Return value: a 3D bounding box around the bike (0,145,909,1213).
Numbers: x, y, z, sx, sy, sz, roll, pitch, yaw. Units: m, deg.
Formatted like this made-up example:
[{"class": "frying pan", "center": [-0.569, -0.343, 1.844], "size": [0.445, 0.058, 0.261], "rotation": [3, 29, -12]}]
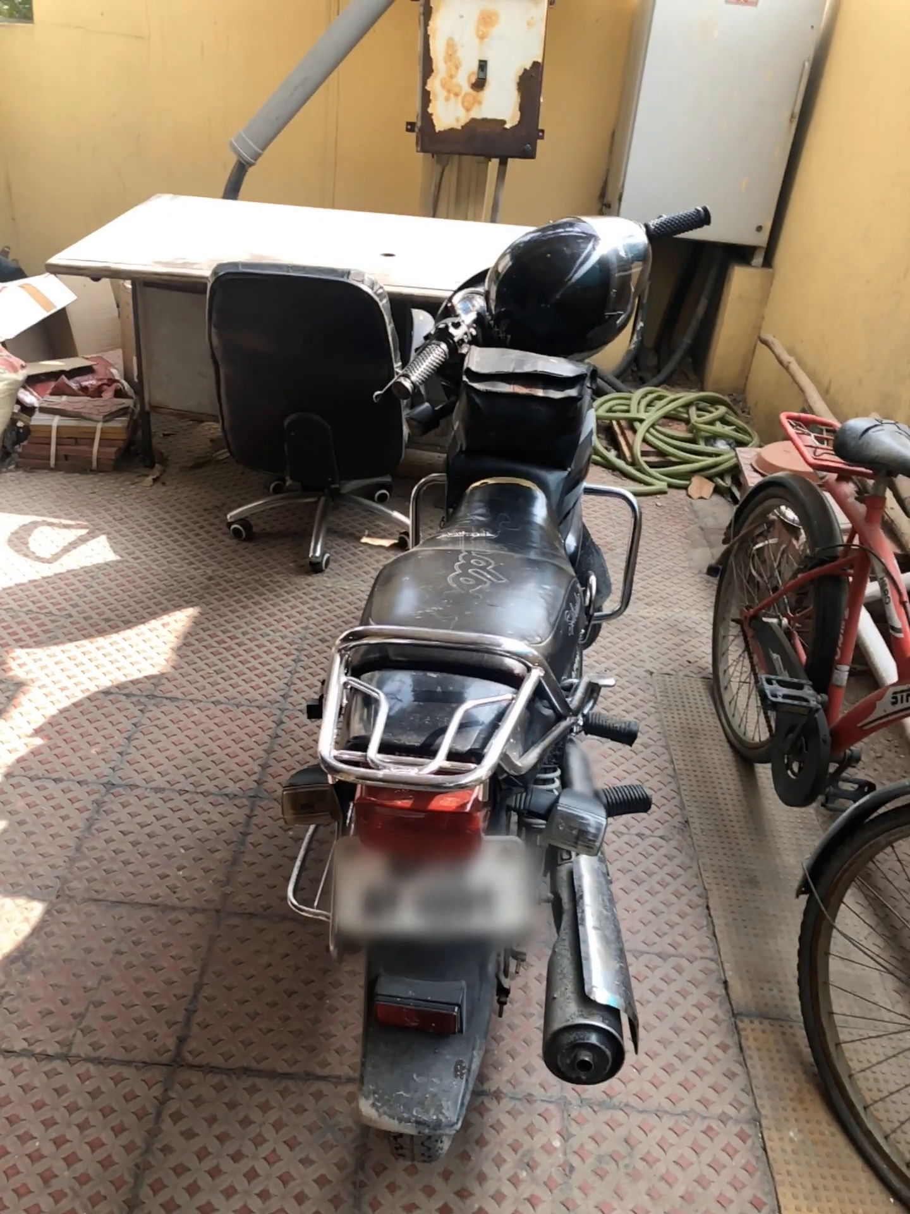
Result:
[{"class": "bike", "center": [-0.078, -0.075, 1.669], "size": [0.713, 1.028, 1.623], "rotation": [5, 31, -2]}]
